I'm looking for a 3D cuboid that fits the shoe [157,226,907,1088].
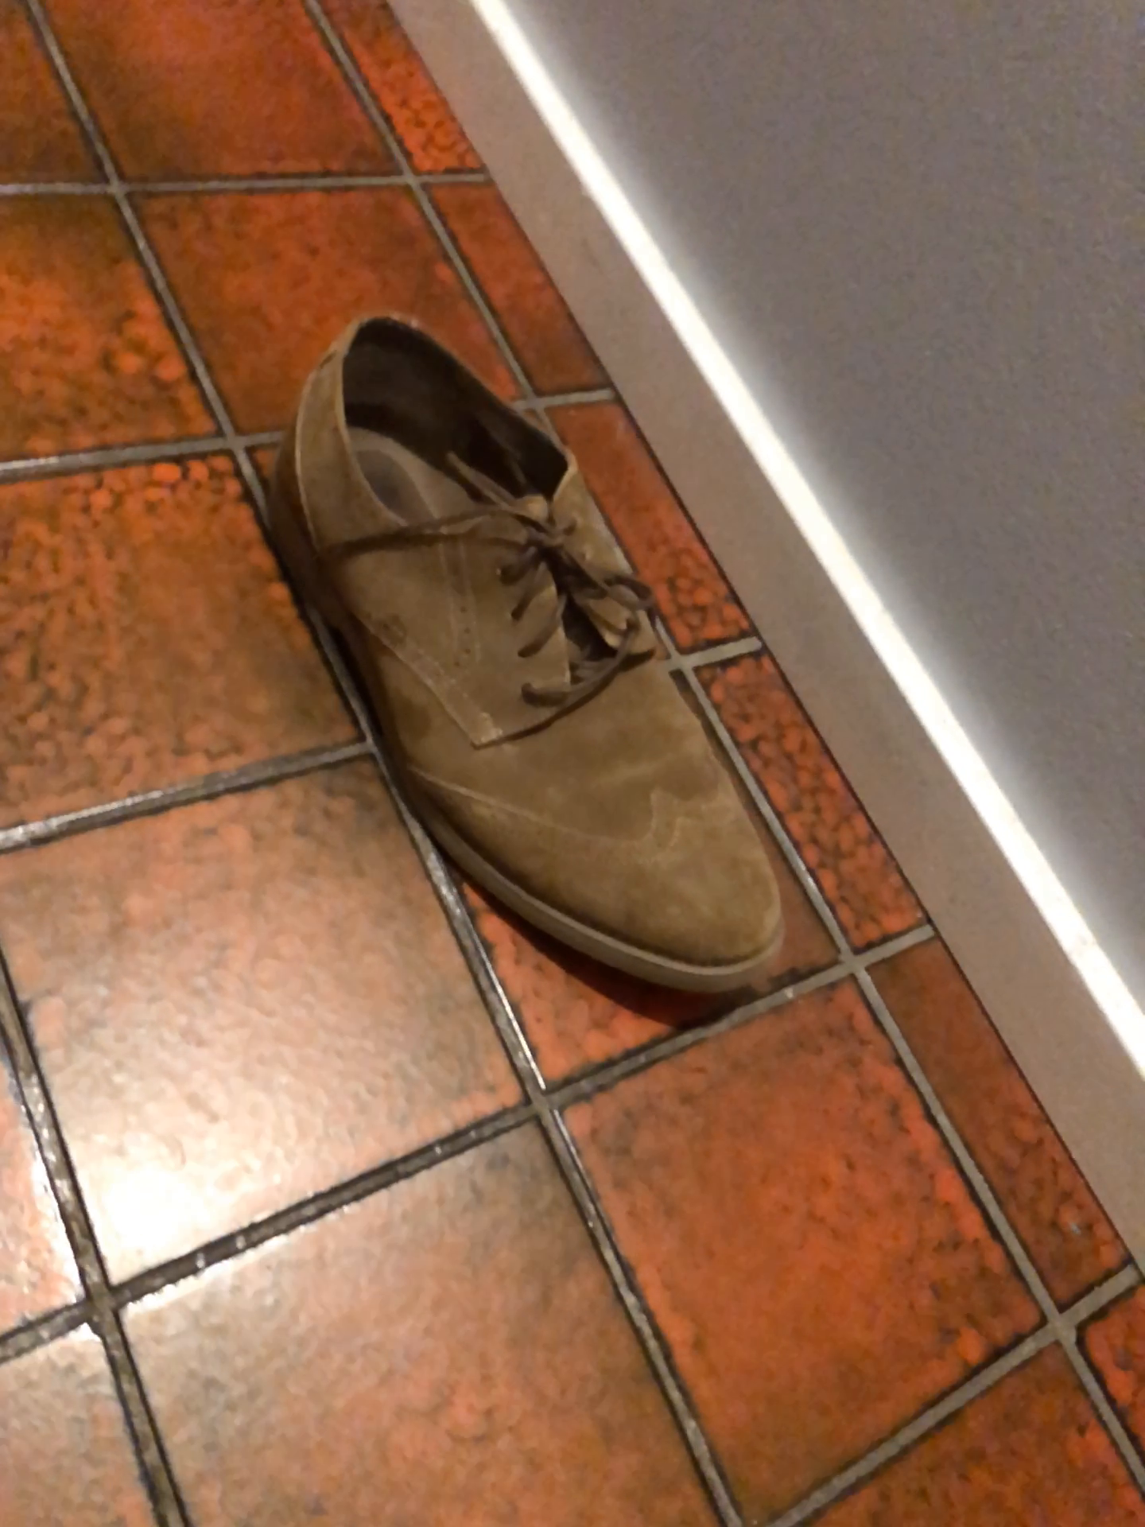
[{"bbox_3d":[-0.029,-0.050,0.483,0.120,0.100,0.300,-25,74,-32],"label":"shoe"}]
